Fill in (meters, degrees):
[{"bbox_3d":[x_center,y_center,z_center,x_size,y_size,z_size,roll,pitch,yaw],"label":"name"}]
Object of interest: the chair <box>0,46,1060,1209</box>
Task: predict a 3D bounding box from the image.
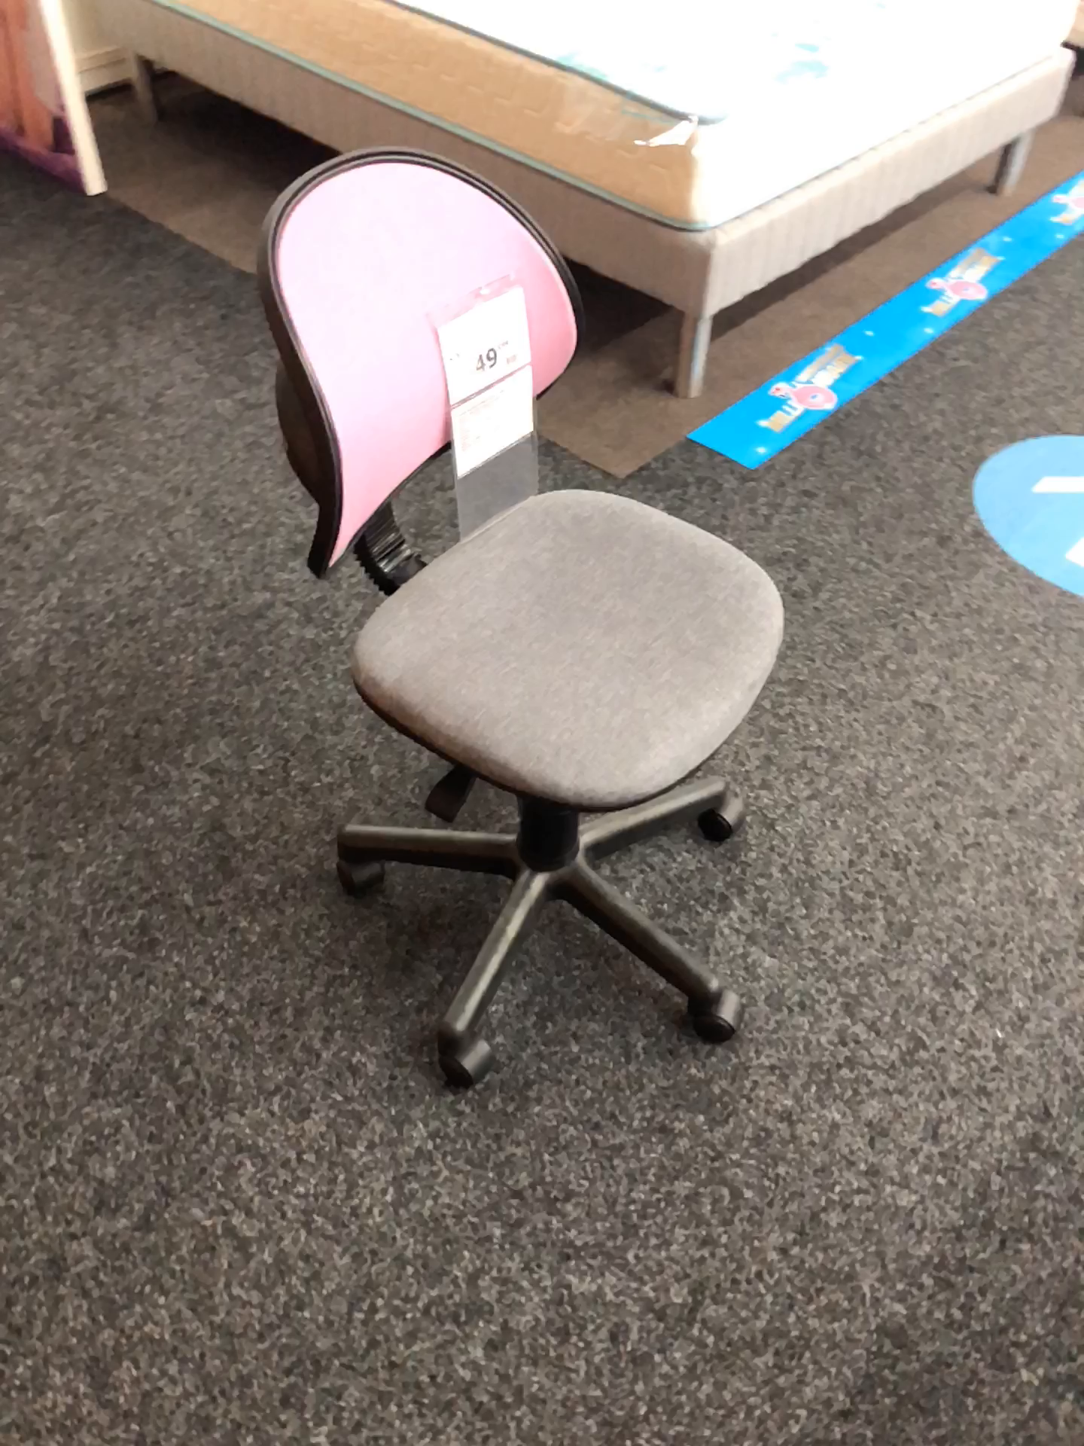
[{"bbox_3d":[0.013,-0.087,1.144,0.600,0.776,0.604,20,49,16],"label":"chair"}]
